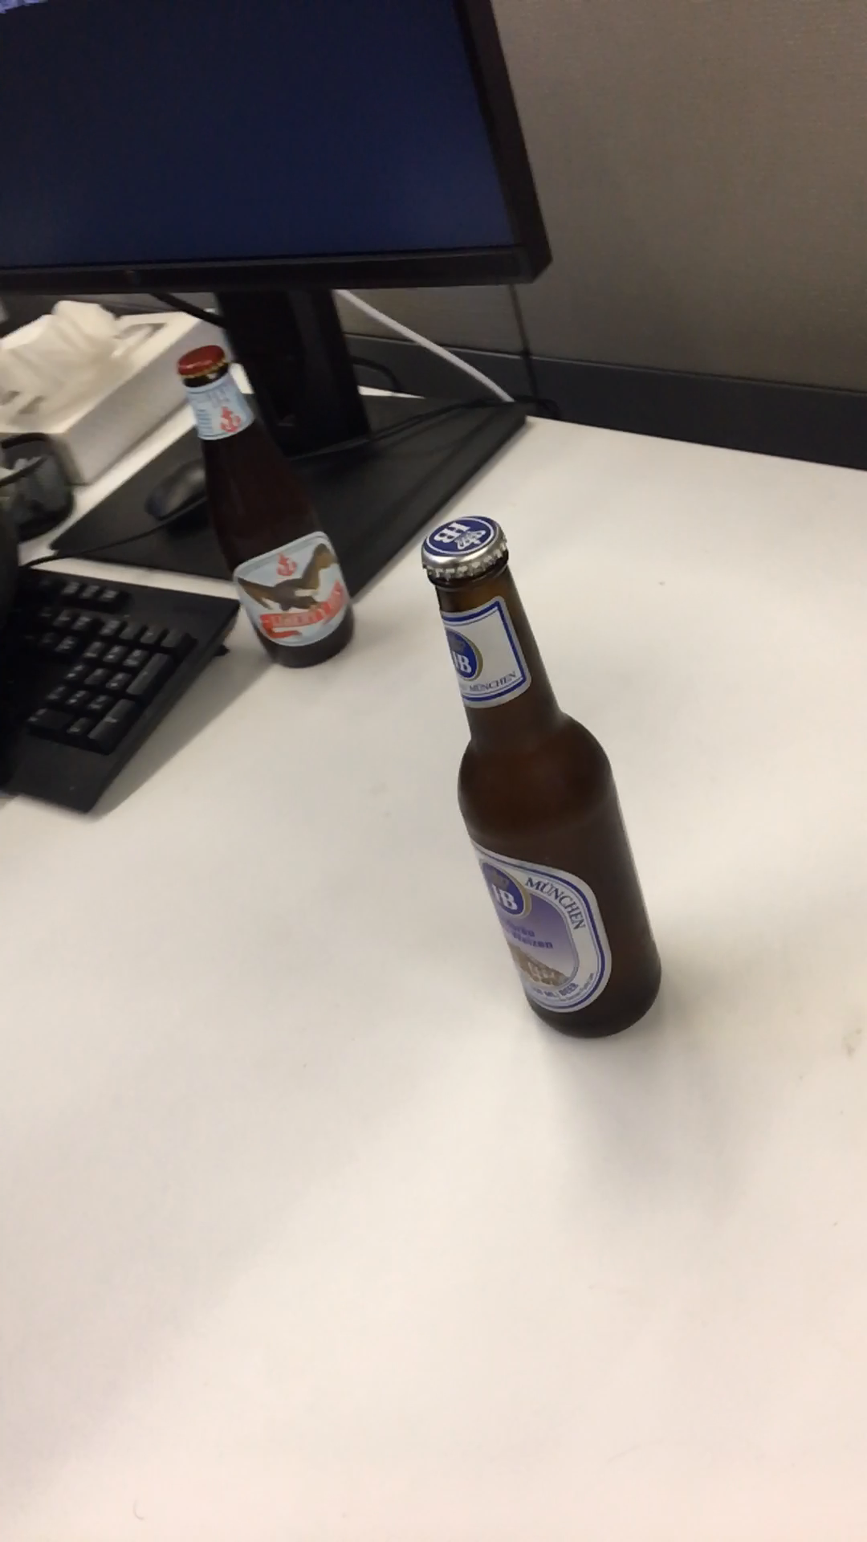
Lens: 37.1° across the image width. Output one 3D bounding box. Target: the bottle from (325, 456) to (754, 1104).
[{"bbox_3d":[0.049,0.011,0.486,0.080,0.230,0.080,-12,39,10],"label":"bottle"}]
